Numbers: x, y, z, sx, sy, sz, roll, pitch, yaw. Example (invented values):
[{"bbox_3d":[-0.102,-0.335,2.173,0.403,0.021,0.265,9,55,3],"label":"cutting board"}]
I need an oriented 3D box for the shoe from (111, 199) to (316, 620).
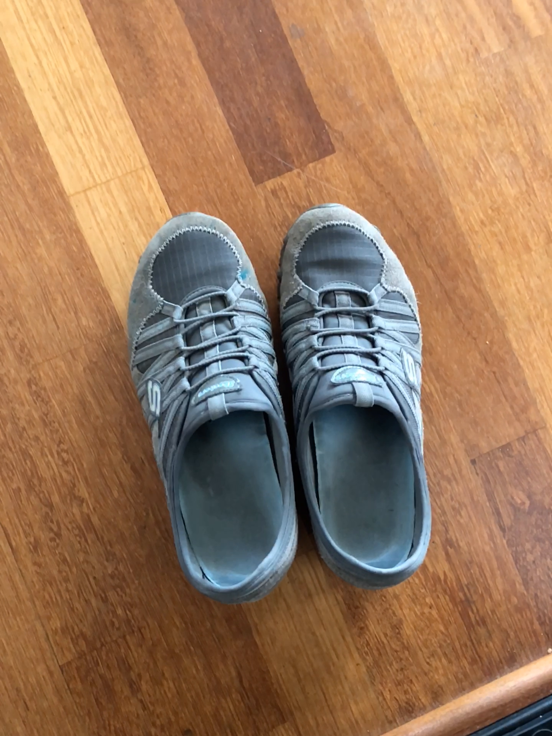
[{"bbox_3d":[-0.043,0.026,0.435,0.096,0.106,0.253,-8,88,-4],"label":"shoe"}]

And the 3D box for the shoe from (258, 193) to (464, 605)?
[{"bbox_3d":[0.052,0.019,0.436,0.093,0.106,0.249,-8,88,-4],"label":"shoe"}]
